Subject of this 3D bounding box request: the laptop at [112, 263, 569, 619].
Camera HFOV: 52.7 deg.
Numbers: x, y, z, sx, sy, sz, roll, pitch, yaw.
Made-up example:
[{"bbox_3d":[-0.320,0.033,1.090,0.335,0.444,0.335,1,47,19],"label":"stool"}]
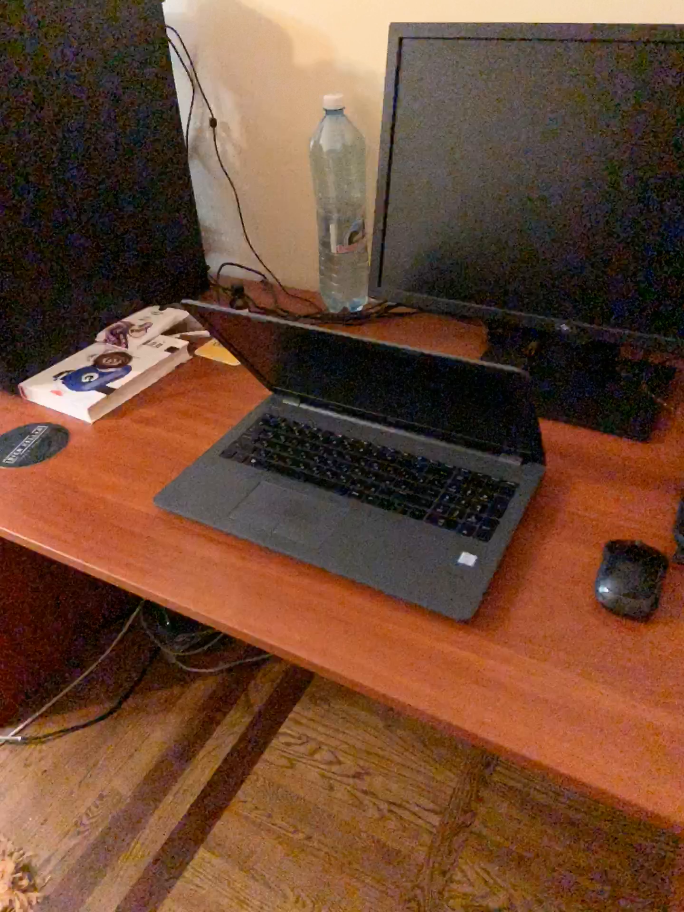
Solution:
[{"bbox_3d":[0.002,-0.045,0.741,0.386,0.193,0.246,16,41,26],"label":"laptop"}]
